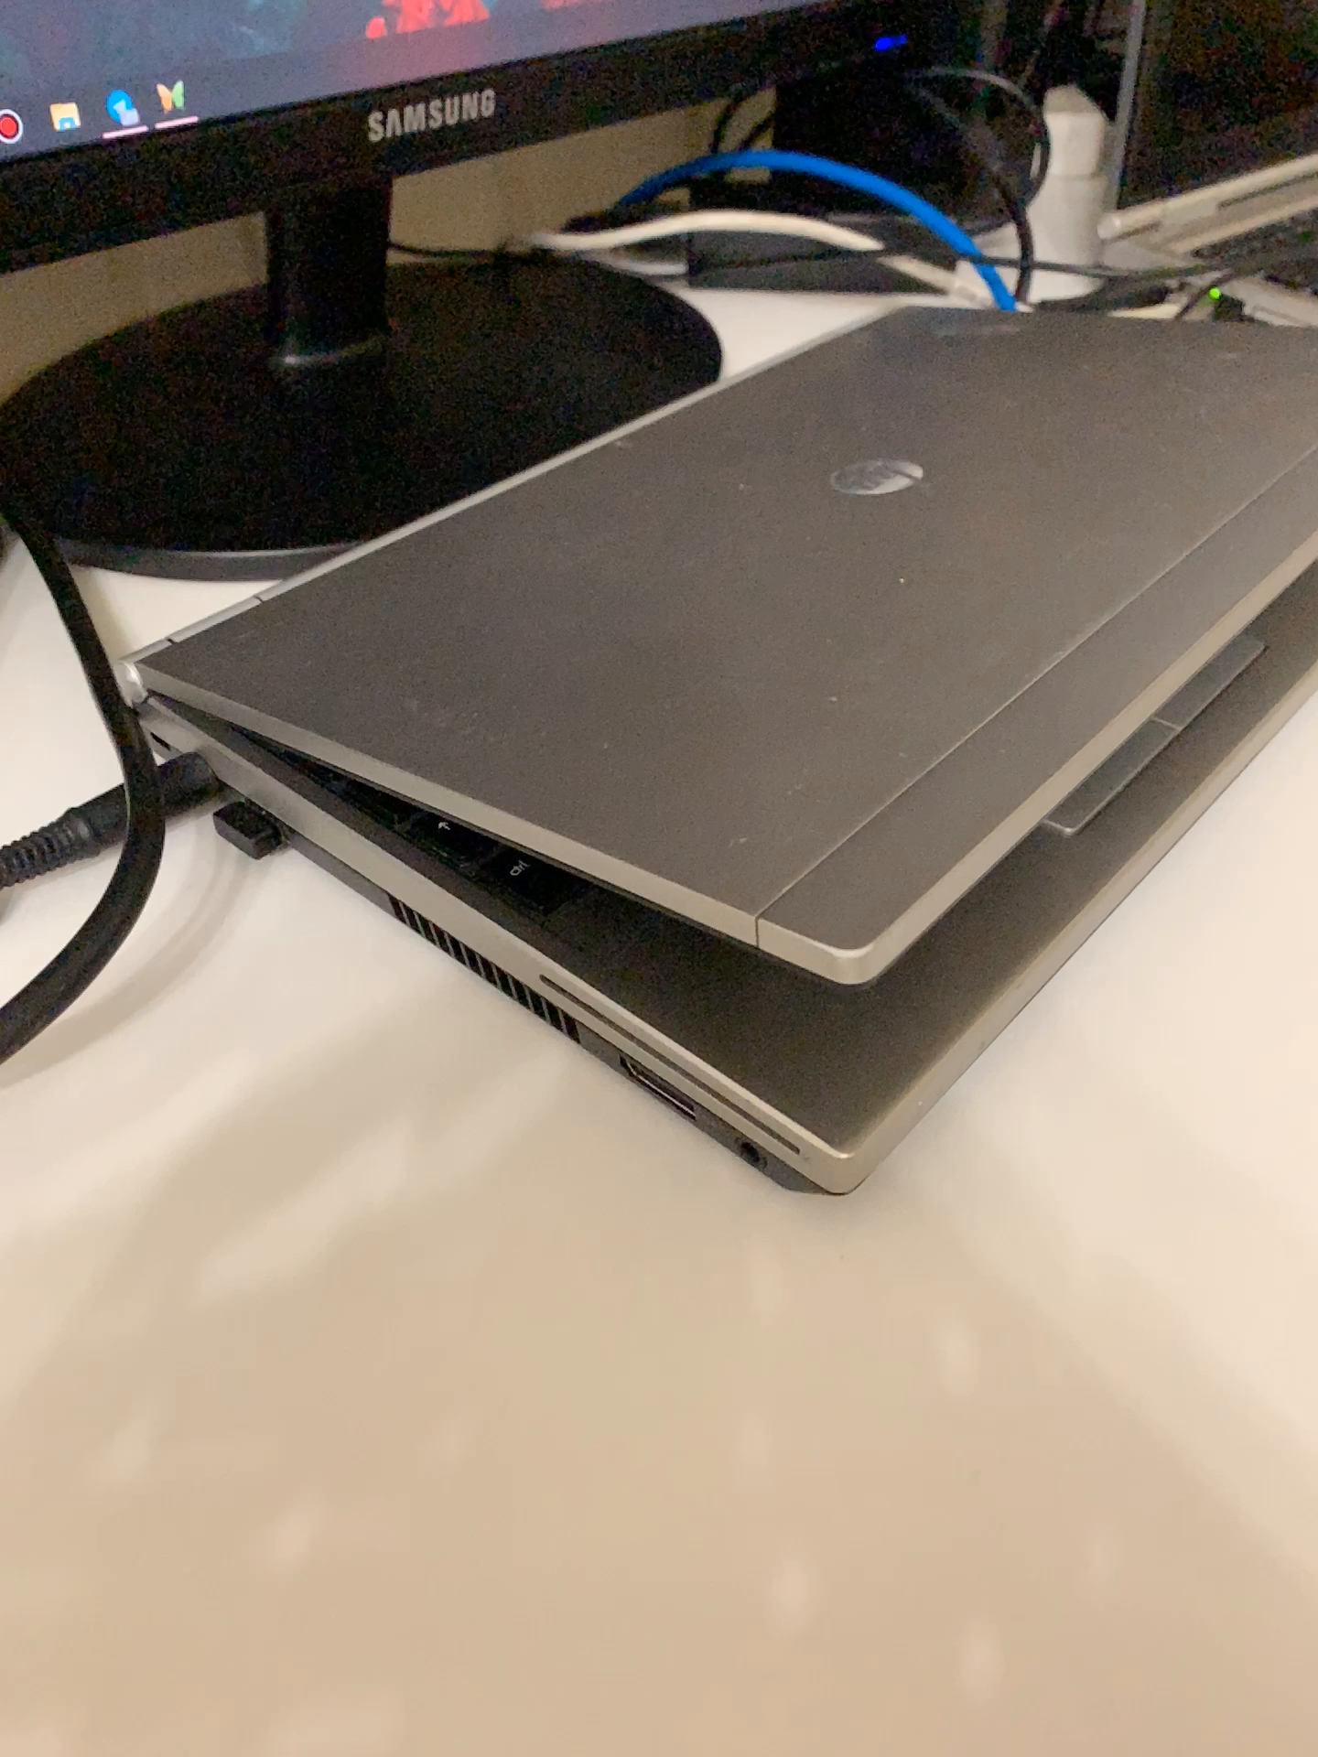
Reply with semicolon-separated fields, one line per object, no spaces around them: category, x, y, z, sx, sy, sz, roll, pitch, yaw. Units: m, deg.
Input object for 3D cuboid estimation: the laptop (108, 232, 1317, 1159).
laptop;0.055;-0.083;0.324;0.183;0.029;0.294;31;49;28
